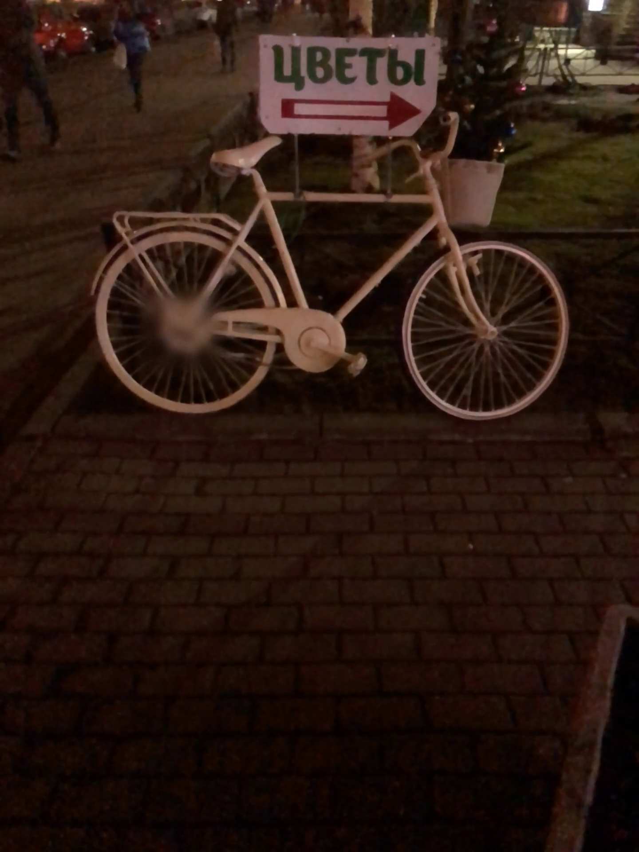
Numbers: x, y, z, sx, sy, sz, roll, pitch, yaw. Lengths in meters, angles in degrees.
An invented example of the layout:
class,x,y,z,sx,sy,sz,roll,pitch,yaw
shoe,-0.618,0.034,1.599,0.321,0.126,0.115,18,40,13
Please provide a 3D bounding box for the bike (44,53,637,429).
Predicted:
class,x,y,z,sx,sy,sz,roll,pitch,yaw
bike,0.050,-0.704,2.689,1.827,1.118,0.609,-3,31,0
